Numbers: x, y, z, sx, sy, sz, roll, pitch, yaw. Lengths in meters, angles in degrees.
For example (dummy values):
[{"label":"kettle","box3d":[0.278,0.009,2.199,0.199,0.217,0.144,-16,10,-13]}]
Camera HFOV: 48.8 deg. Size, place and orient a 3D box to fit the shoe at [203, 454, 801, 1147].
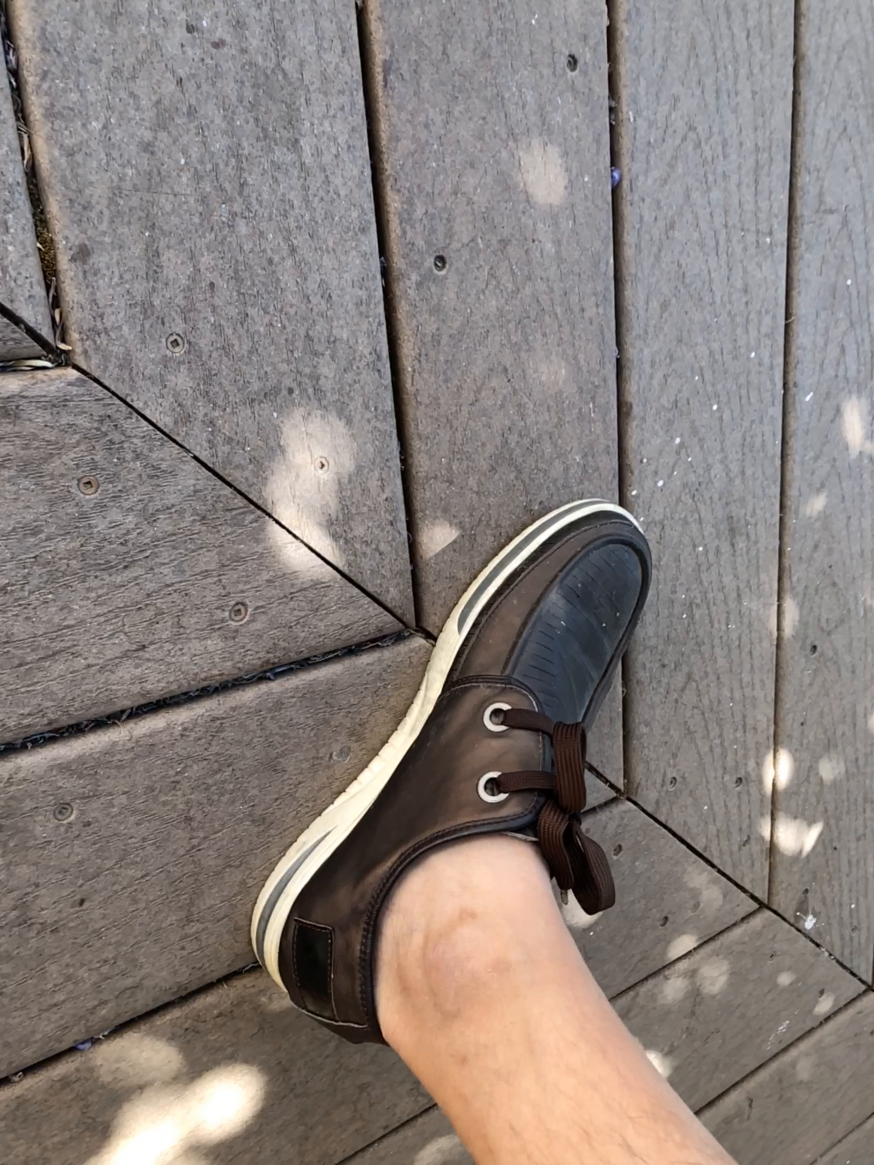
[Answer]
[{"label":"shoe","box3d":[0.039,0.087,0.452,0.107,0.096,0.289,46,73,-33]}]
